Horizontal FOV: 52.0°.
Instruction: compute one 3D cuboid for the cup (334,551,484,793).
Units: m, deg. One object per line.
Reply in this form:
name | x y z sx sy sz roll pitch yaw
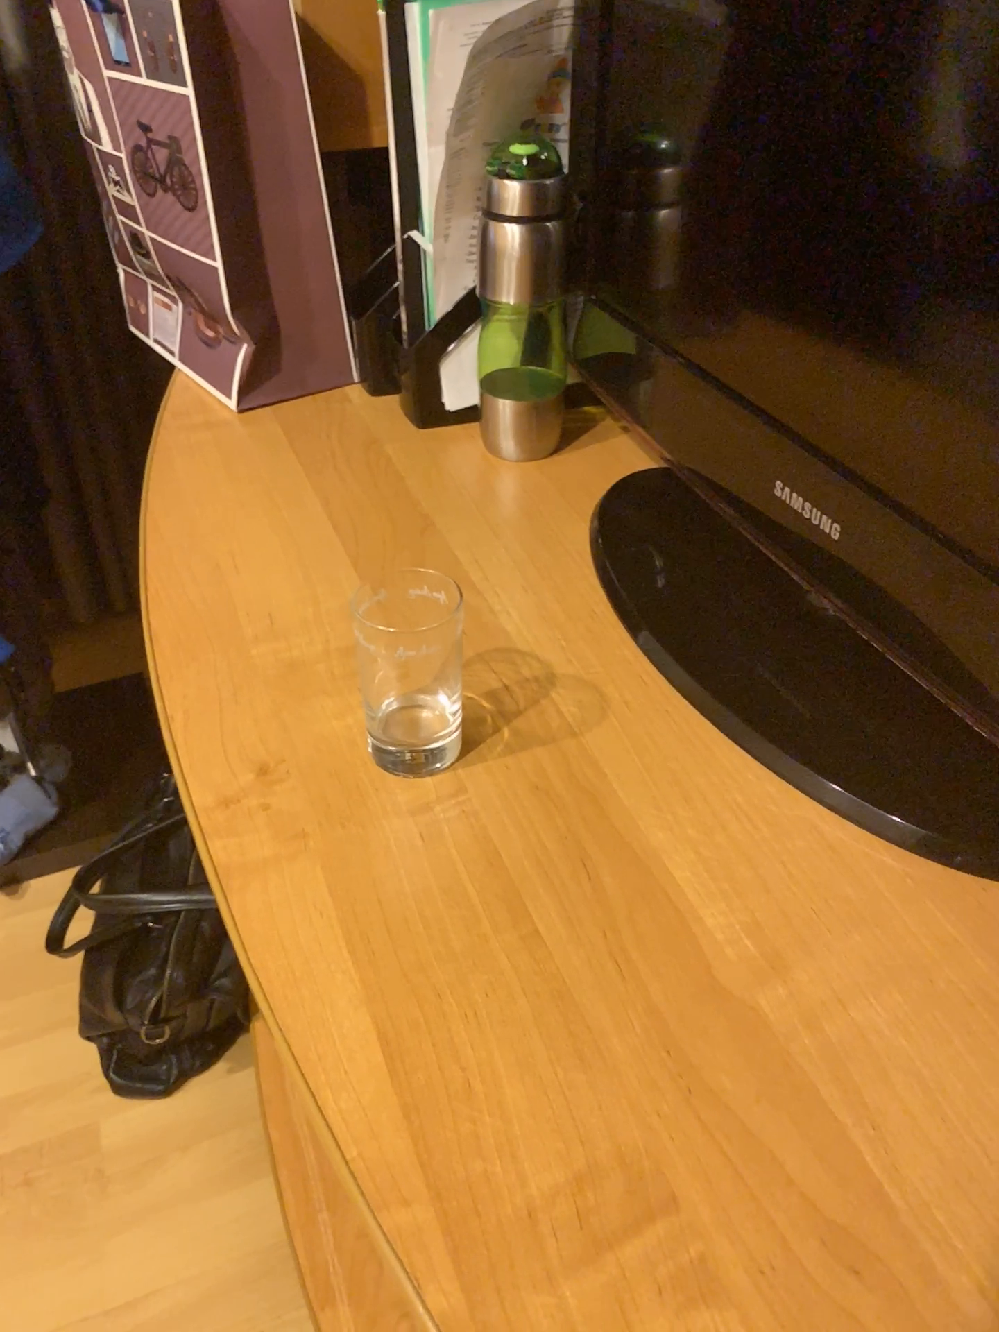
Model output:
cup | -0.046 0.003 0.527 0.060 0.099 0.061 0 37 0
